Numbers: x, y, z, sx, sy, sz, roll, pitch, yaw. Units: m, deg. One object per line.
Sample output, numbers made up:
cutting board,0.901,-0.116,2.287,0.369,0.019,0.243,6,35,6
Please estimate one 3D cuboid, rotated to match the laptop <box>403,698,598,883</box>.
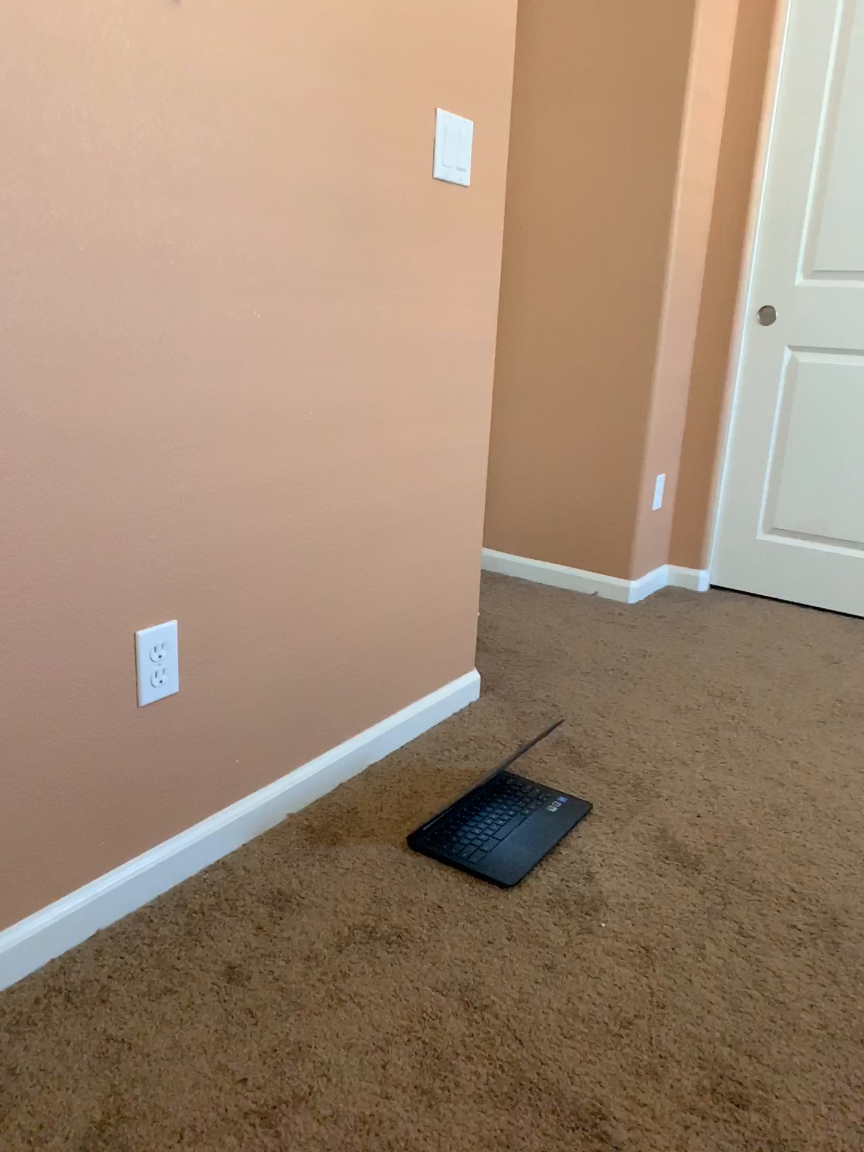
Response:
laptop,0.120,0.342,1.468,0.192,0.140,0.293,15,20,31
